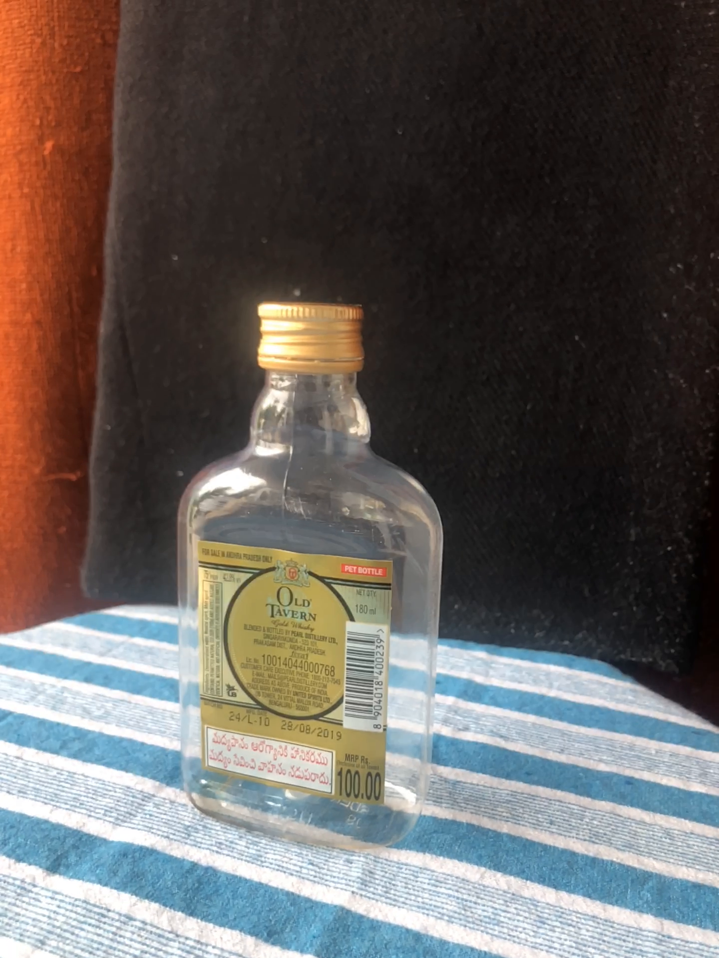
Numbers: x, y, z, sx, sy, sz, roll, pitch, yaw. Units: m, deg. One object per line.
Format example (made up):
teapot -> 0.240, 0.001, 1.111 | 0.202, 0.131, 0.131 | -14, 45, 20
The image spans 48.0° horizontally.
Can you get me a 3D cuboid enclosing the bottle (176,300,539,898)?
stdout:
bottle -> -0.002, 0.027, 0.213 | 0.080, 0.140, 0.040 | 7, 15, 16
